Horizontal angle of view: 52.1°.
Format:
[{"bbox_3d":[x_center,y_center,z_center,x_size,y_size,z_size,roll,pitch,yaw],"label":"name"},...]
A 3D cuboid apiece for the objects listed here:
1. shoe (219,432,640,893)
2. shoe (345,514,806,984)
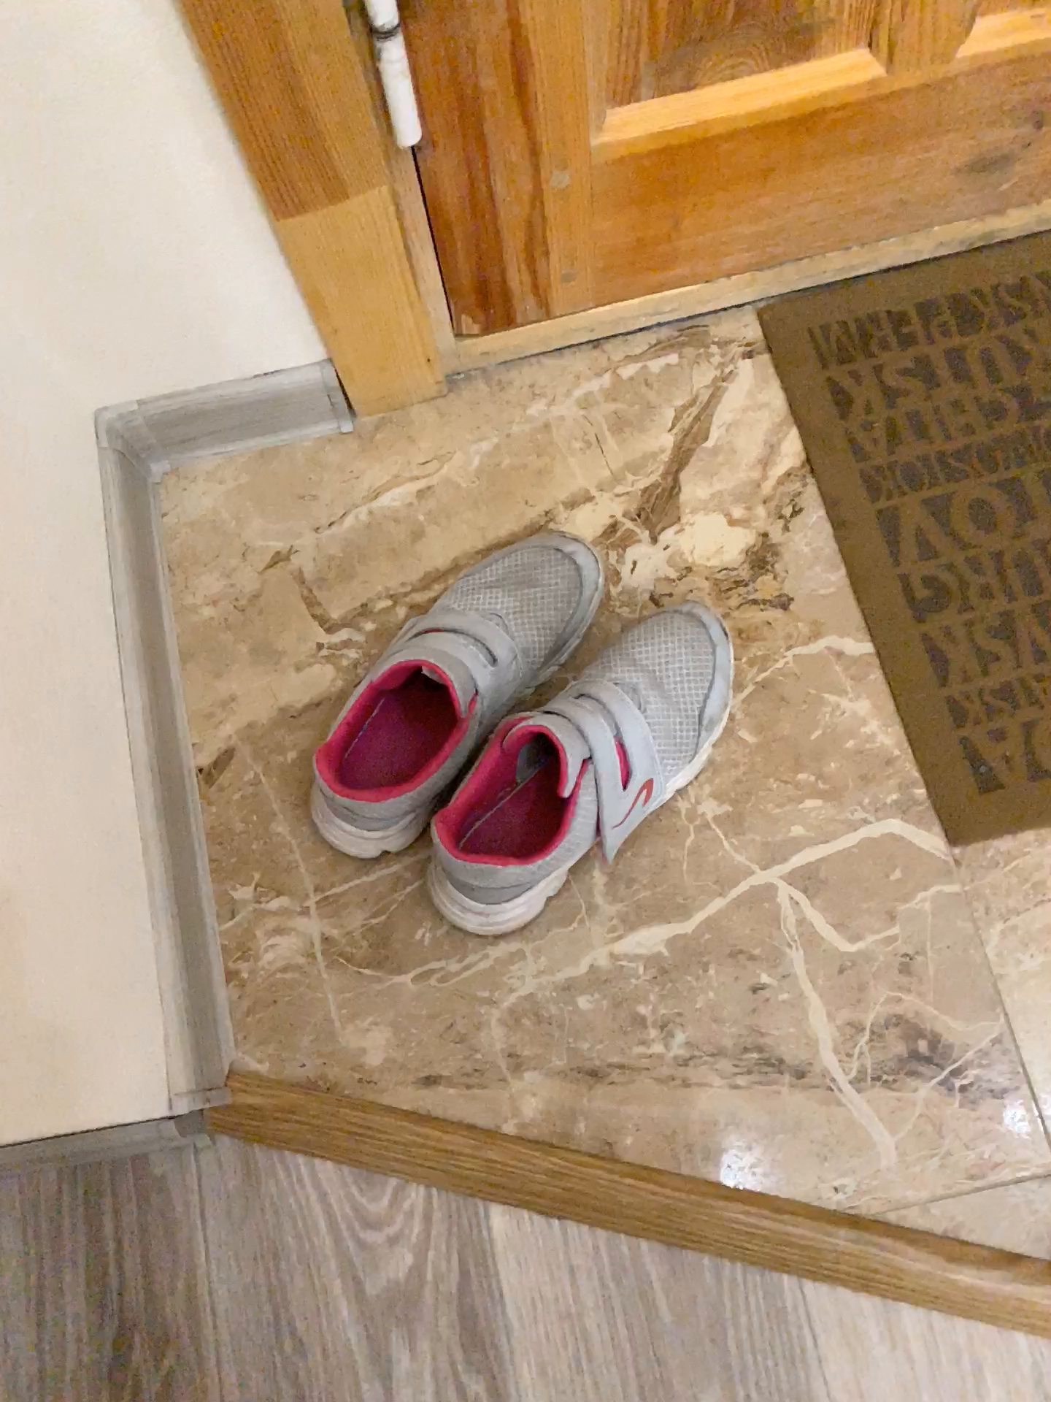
[{"bbox_3d":[-0.048,-0.021,0.650,0.100,0.100,0.250,37,79,14],"label":"shoe"},{"bbox_3d":[0.033,0.031,0.633,0.100,0.100,0.260,42,80,15],"label":"shoe"}]
